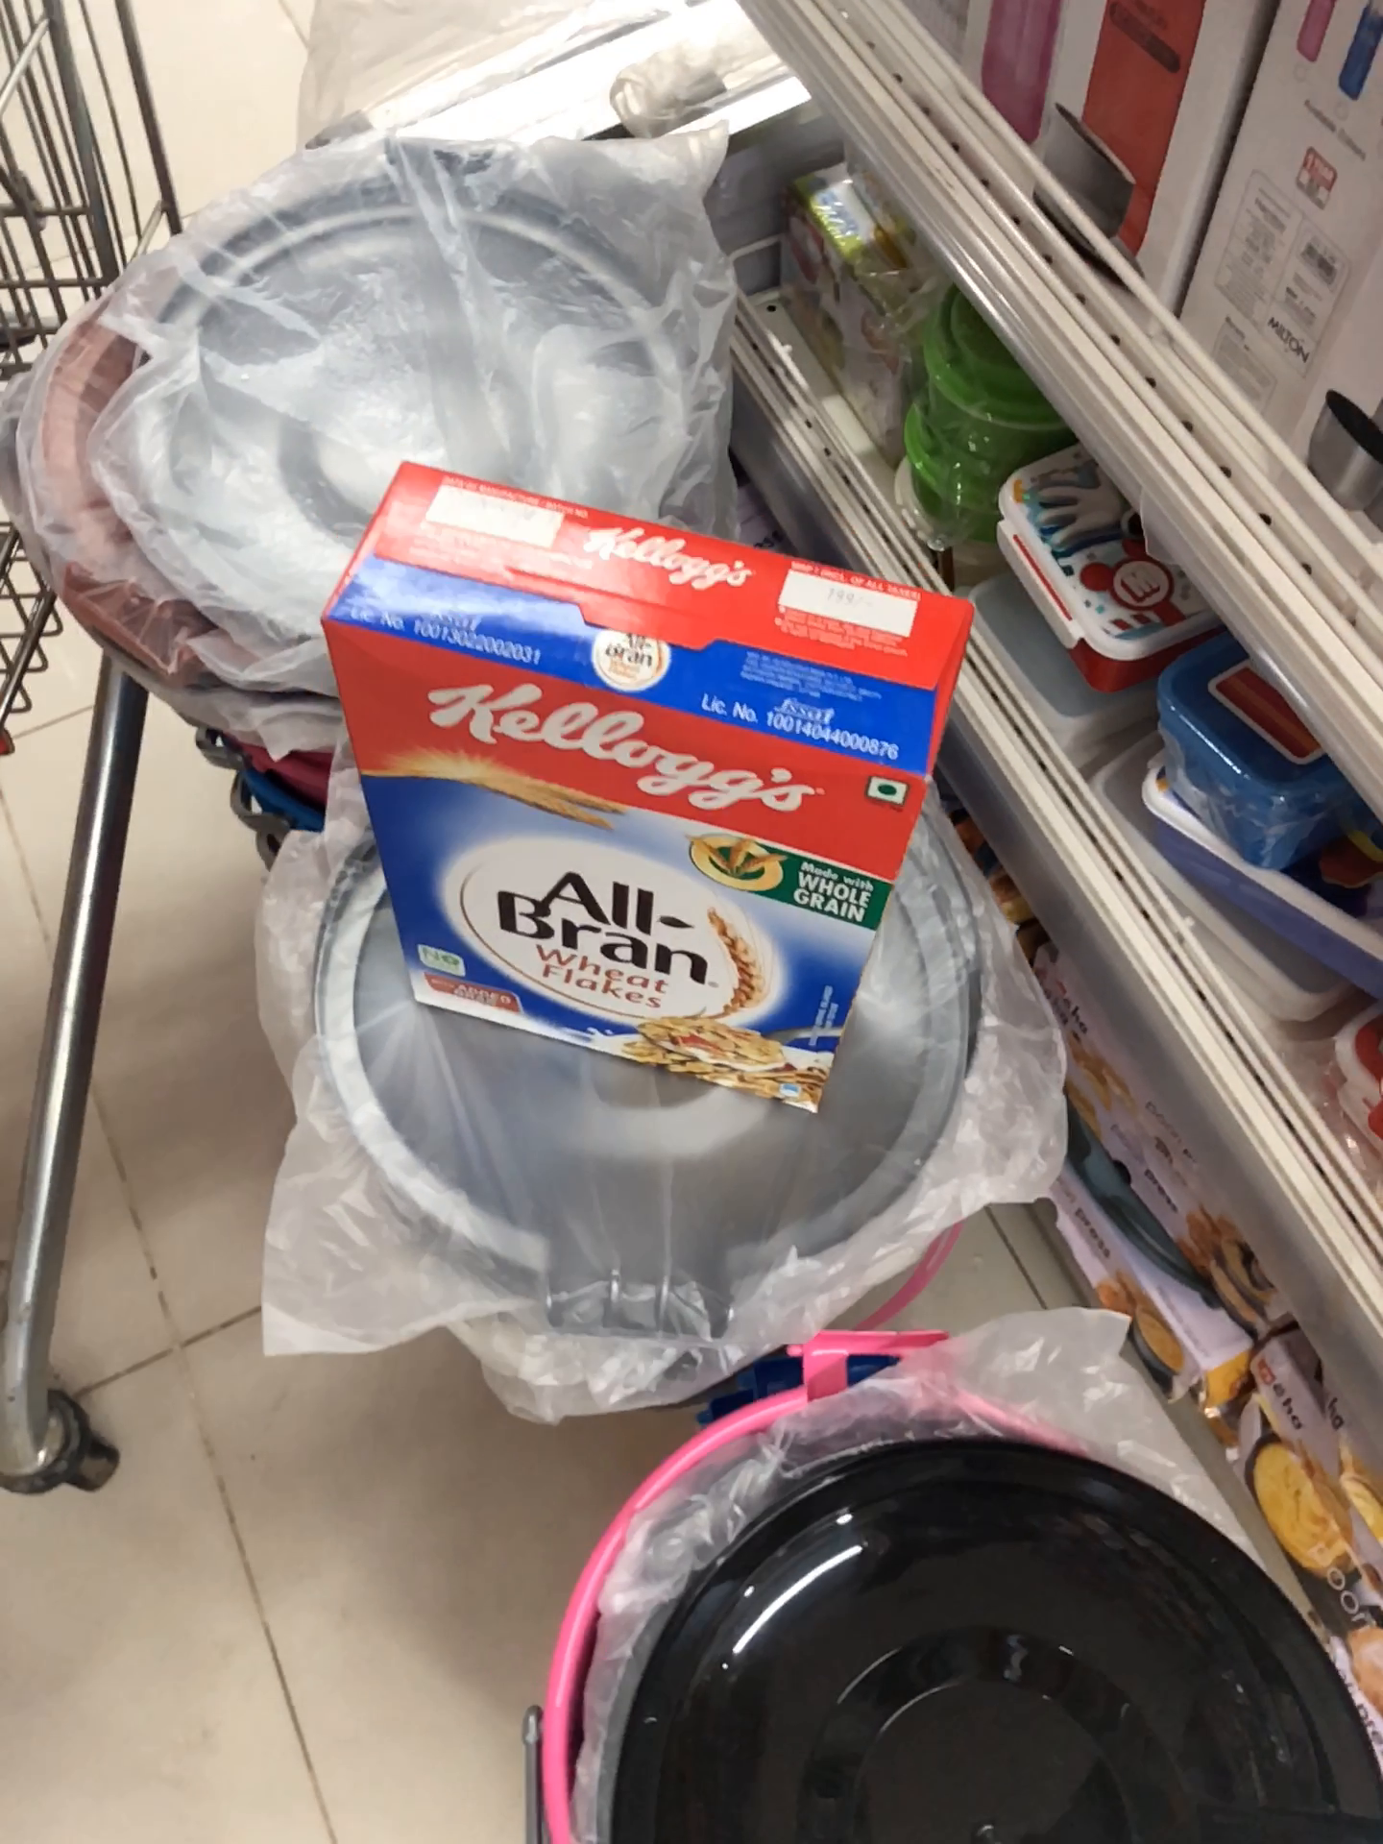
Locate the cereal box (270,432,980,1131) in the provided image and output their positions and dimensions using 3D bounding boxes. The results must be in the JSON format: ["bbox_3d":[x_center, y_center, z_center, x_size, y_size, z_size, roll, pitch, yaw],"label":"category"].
[{"bbox_3d":[-0.022,-0.030,0.556,0.190,0.270,0.070,16,62,6],"label":"cereal box"}]
